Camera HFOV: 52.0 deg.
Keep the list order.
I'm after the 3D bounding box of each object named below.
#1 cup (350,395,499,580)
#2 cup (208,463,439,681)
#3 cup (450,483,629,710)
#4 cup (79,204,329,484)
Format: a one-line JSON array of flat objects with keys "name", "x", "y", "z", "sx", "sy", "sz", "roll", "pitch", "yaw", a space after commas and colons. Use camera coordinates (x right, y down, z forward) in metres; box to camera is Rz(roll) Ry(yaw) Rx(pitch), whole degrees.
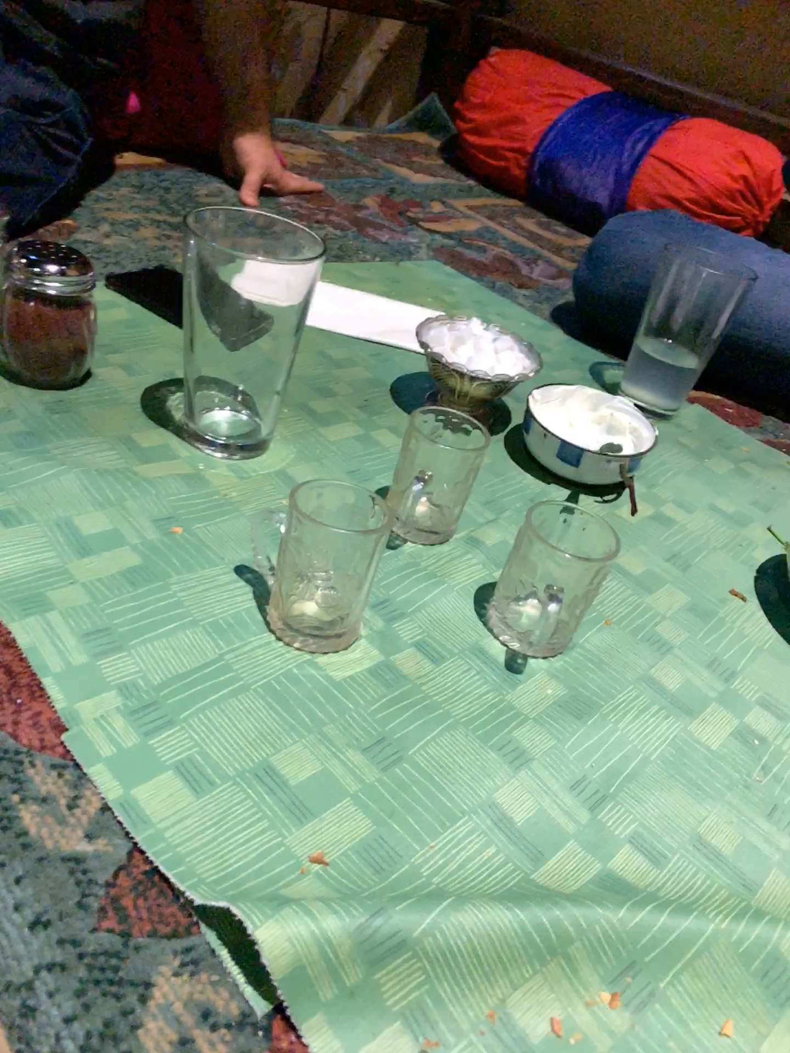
[{"name": "cup", "x": 0.019, "y": -0.026, "z": 0.491, "sx": 0.060, "sy": 0.060, "sz": 0.090, "roll": 19, "pitch": 35, "yaw": 3}, {"name": "cup", "x": -0.036, "y": 0.019, "z": 0.398, "sx": 0.080, "sy": 0.050, "sz": 0.070, "roll": 36, "pitch": 39, "yaw": 26}, {"name": "cup", "x": 0.081, "y": 0.036, "z": 0.449, "sx": 0.060, "sy": 0.070, "sz": 0.090, "roll": 24, "pitch": 35, "yaw": 10}, {"name": "cup", "x": -0.128, "y": -0.123, "z": 0.530, "sx": 0.110, "sy": 0.129, "sz": 0.100, "roll": 11, "pitch": 35, "yaw": -8}]
